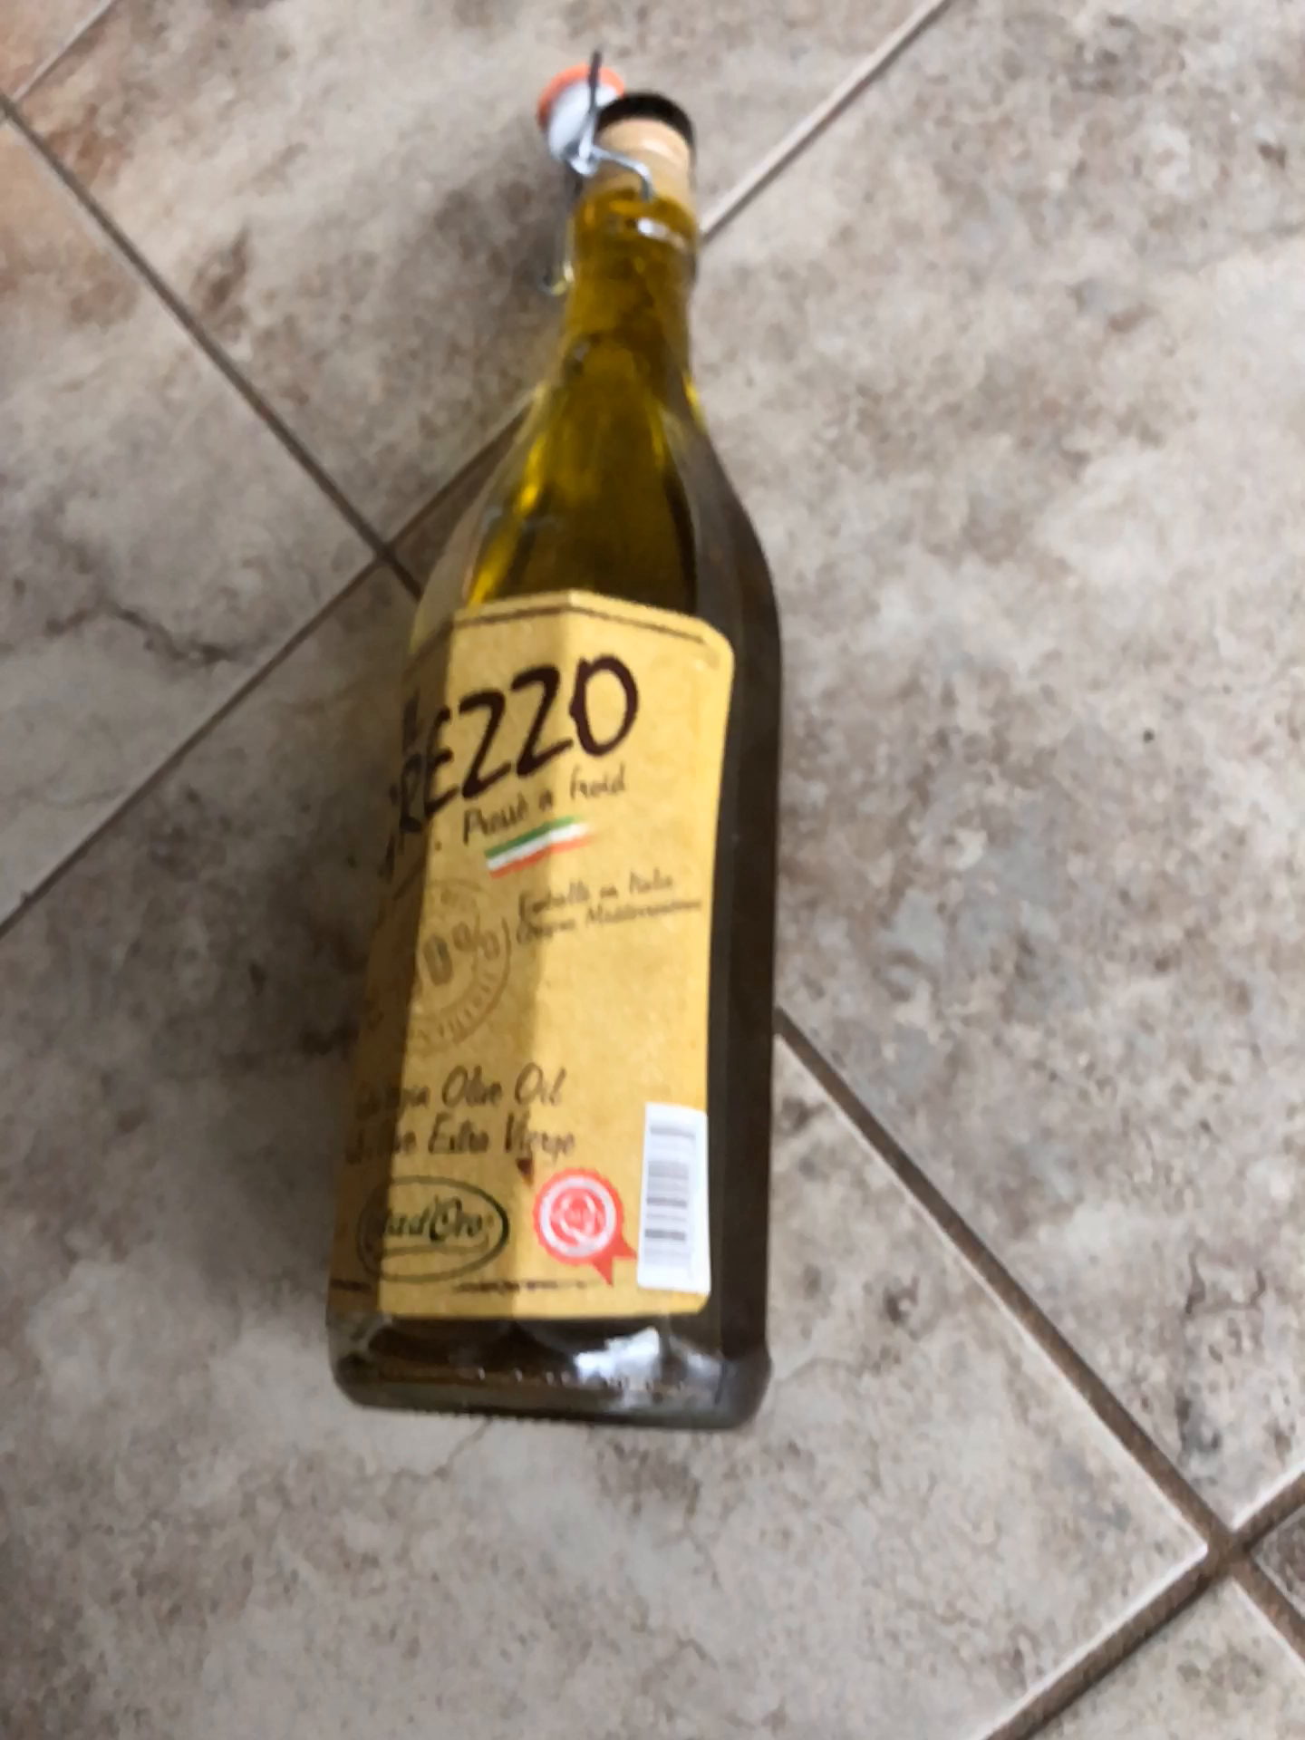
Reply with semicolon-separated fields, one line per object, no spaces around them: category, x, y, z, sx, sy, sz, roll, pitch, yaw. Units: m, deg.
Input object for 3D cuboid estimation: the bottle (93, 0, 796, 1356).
bottle;-0.031;-0.077;0.336;0.090;0.100;0.350;-9;66;22
